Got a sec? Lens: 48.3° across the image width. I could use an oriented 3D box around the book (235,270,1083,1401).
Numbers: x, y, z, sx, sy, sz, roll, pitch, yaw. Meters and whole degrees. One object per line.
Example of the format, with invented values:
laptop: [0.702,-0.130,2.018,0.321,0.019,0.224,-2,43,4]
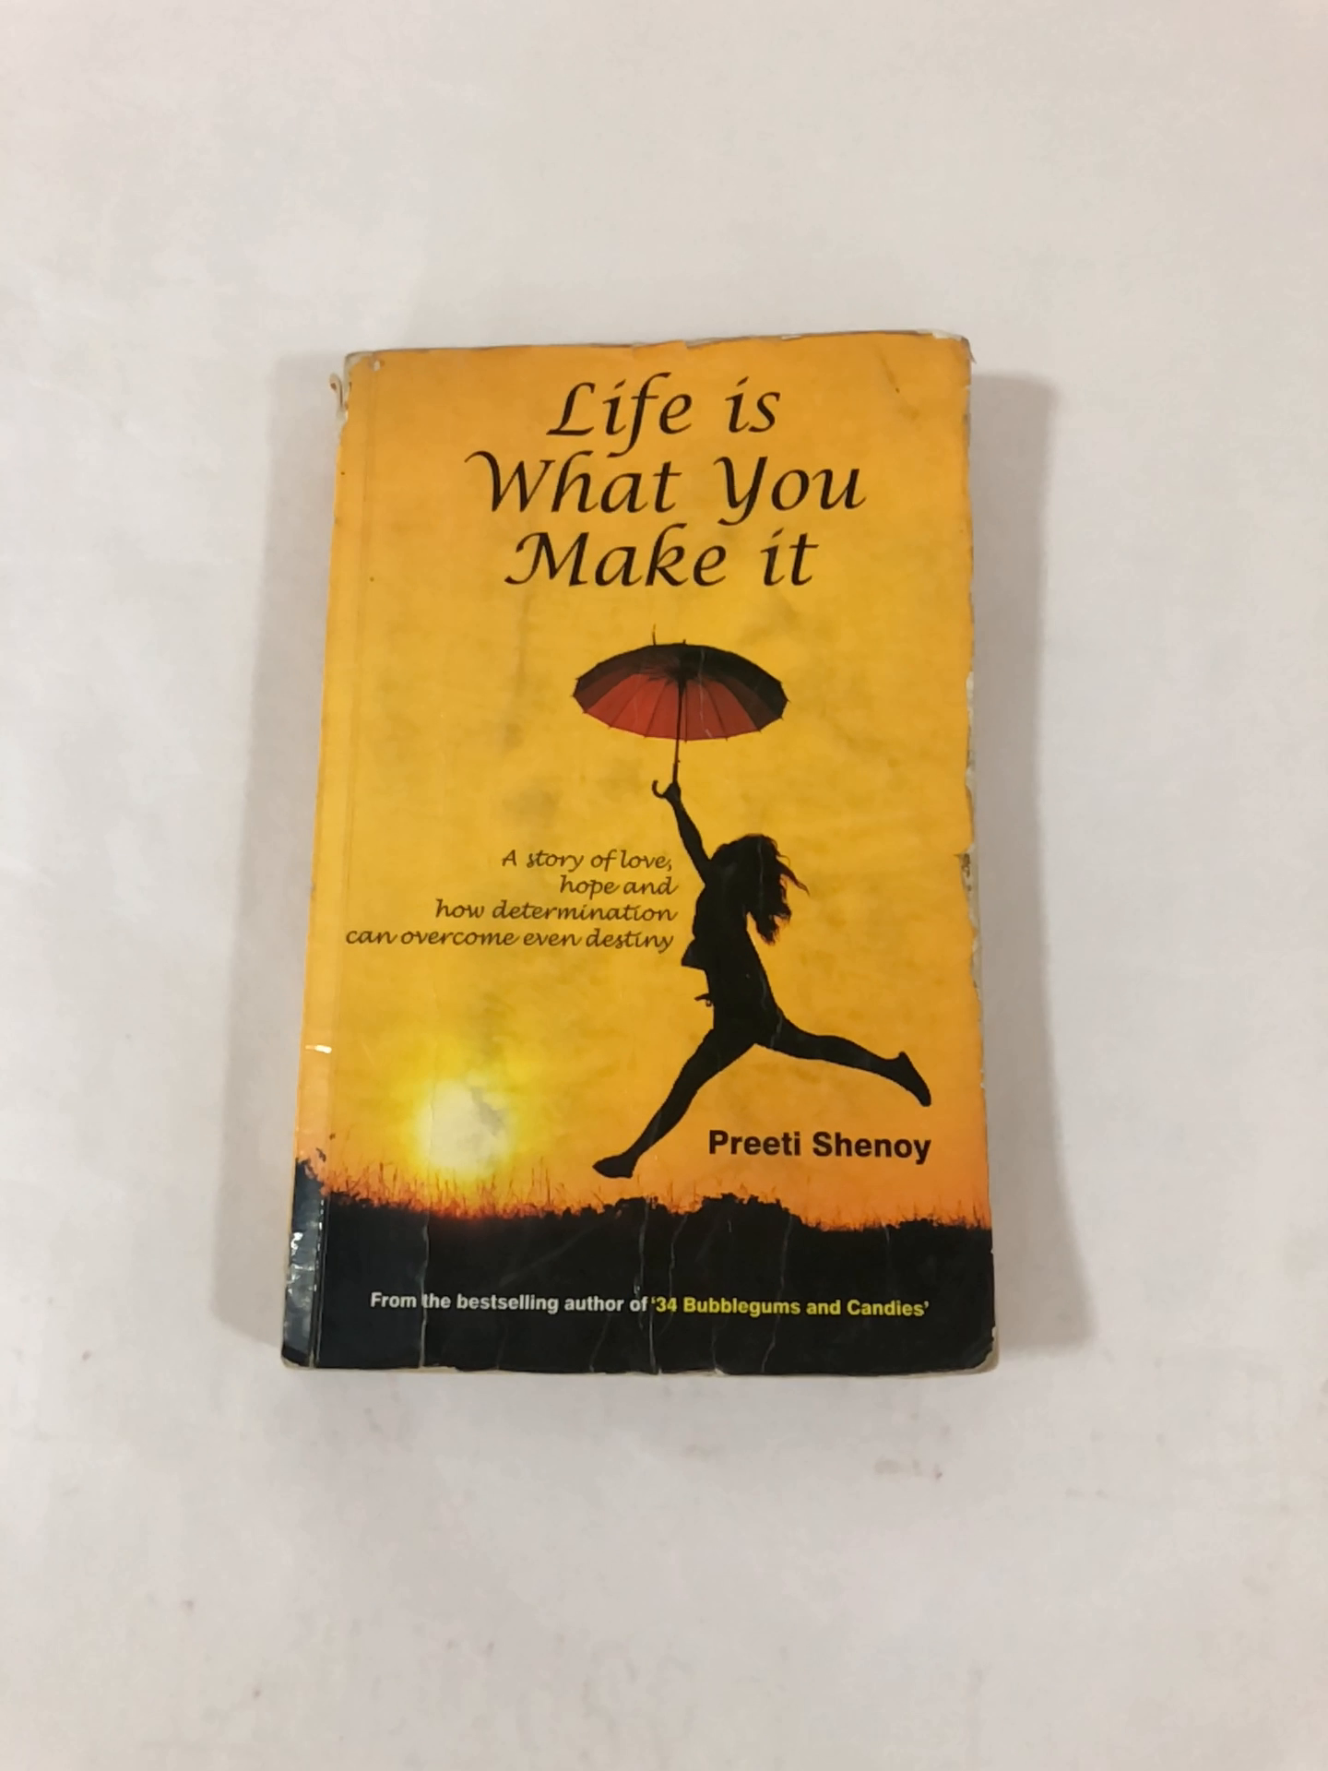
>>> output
book: [-0.001,-0.015,0.277,0.140,0.020,0.210,0,77,1]
